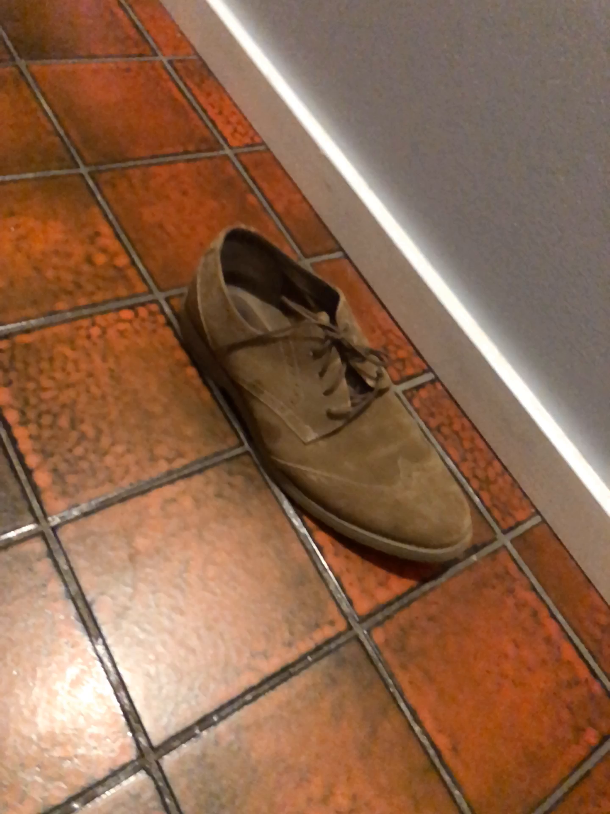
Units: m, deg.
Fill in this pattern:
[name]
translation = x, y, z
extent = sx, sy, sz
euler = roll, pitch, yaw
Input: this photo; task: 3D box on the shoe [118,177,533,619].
[shoe]
translation = 0.001, -0.017, 0.498
extent = 0.120, 0.100, 0.300
euler = -29, 72, -34
